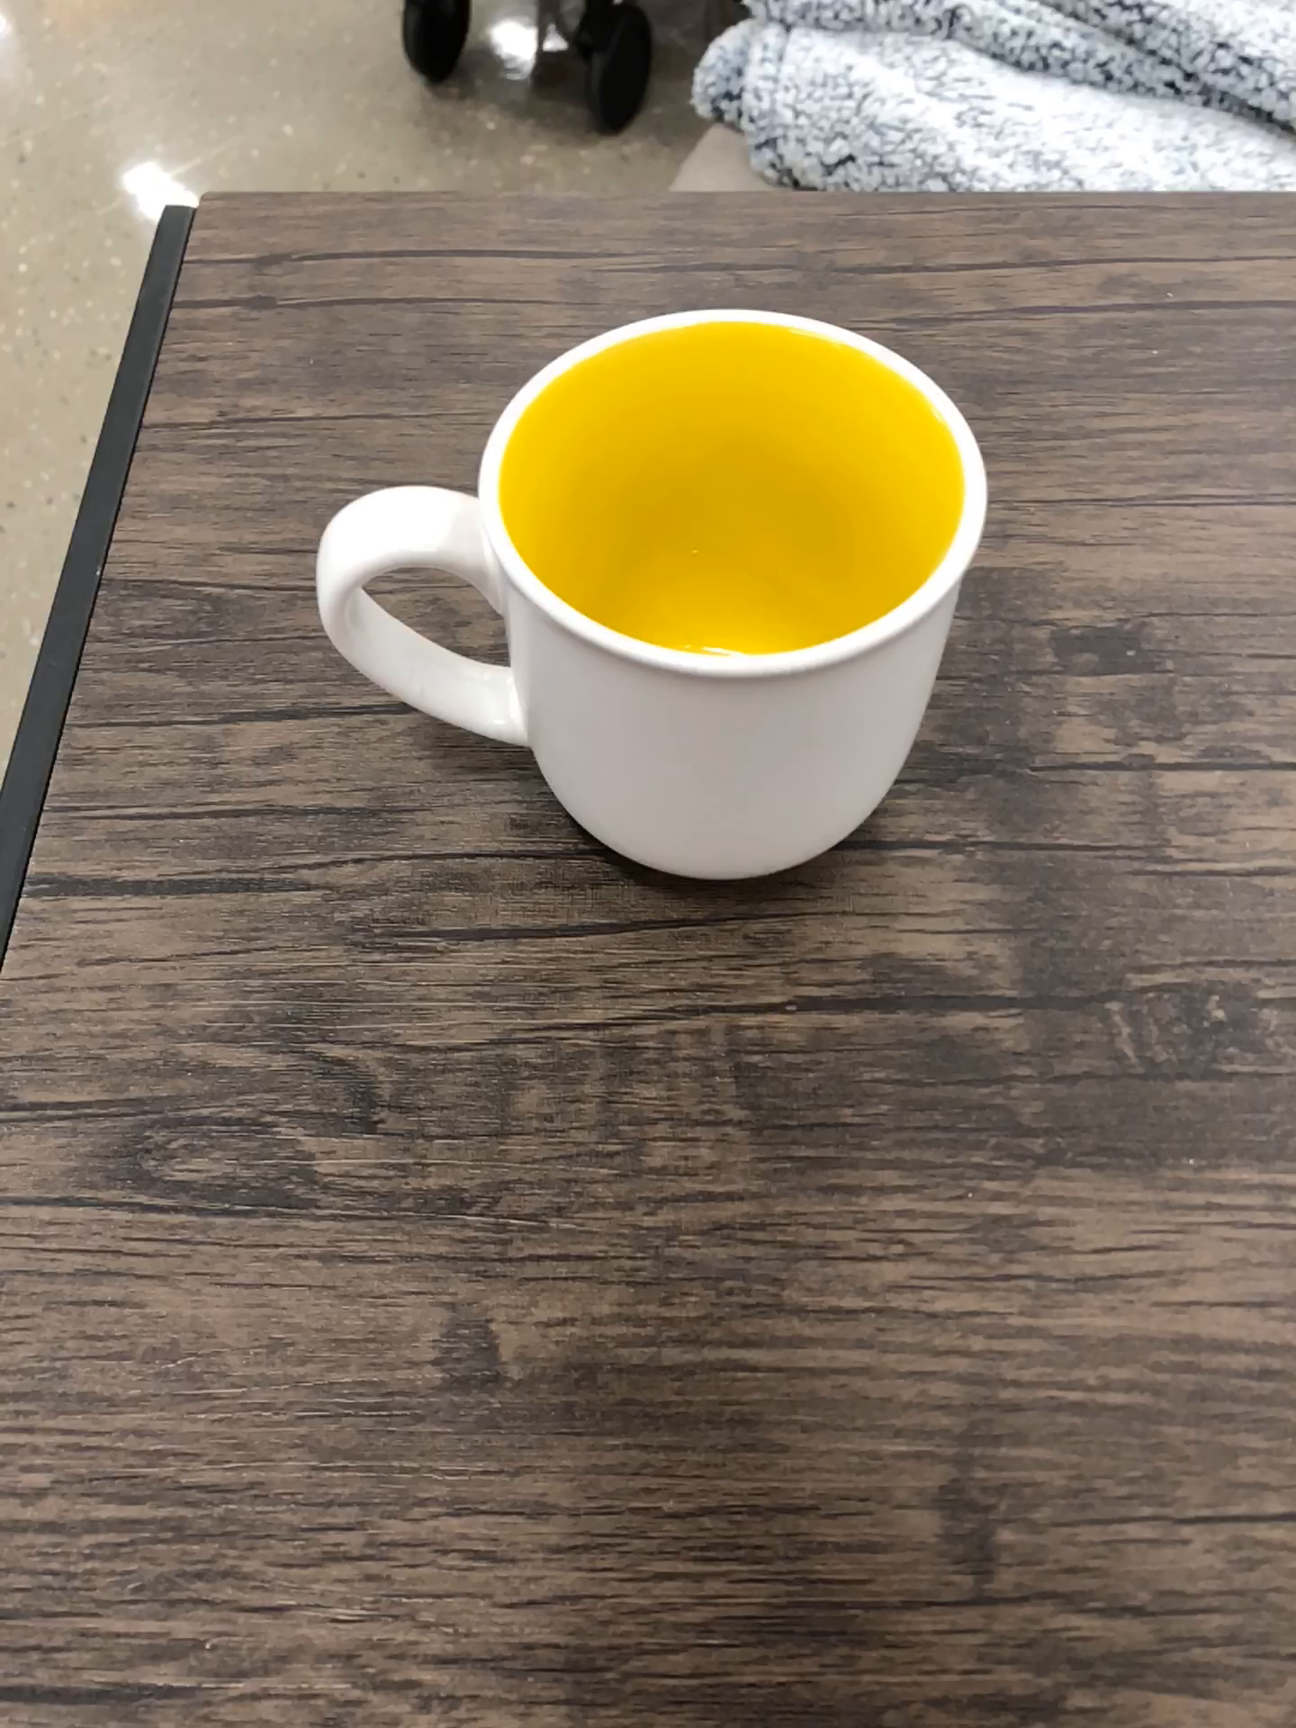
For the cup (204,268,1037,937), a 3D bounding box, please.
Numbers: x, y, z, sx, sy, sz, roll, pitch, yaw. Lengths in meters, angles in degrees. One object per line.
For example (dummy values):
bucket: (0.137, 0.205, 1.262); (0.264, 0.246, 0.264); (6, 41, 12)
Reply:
cup: (-0.003, -0.048, 0.288); (0.130, 0.100, 0.080); (3, 58, 1)
